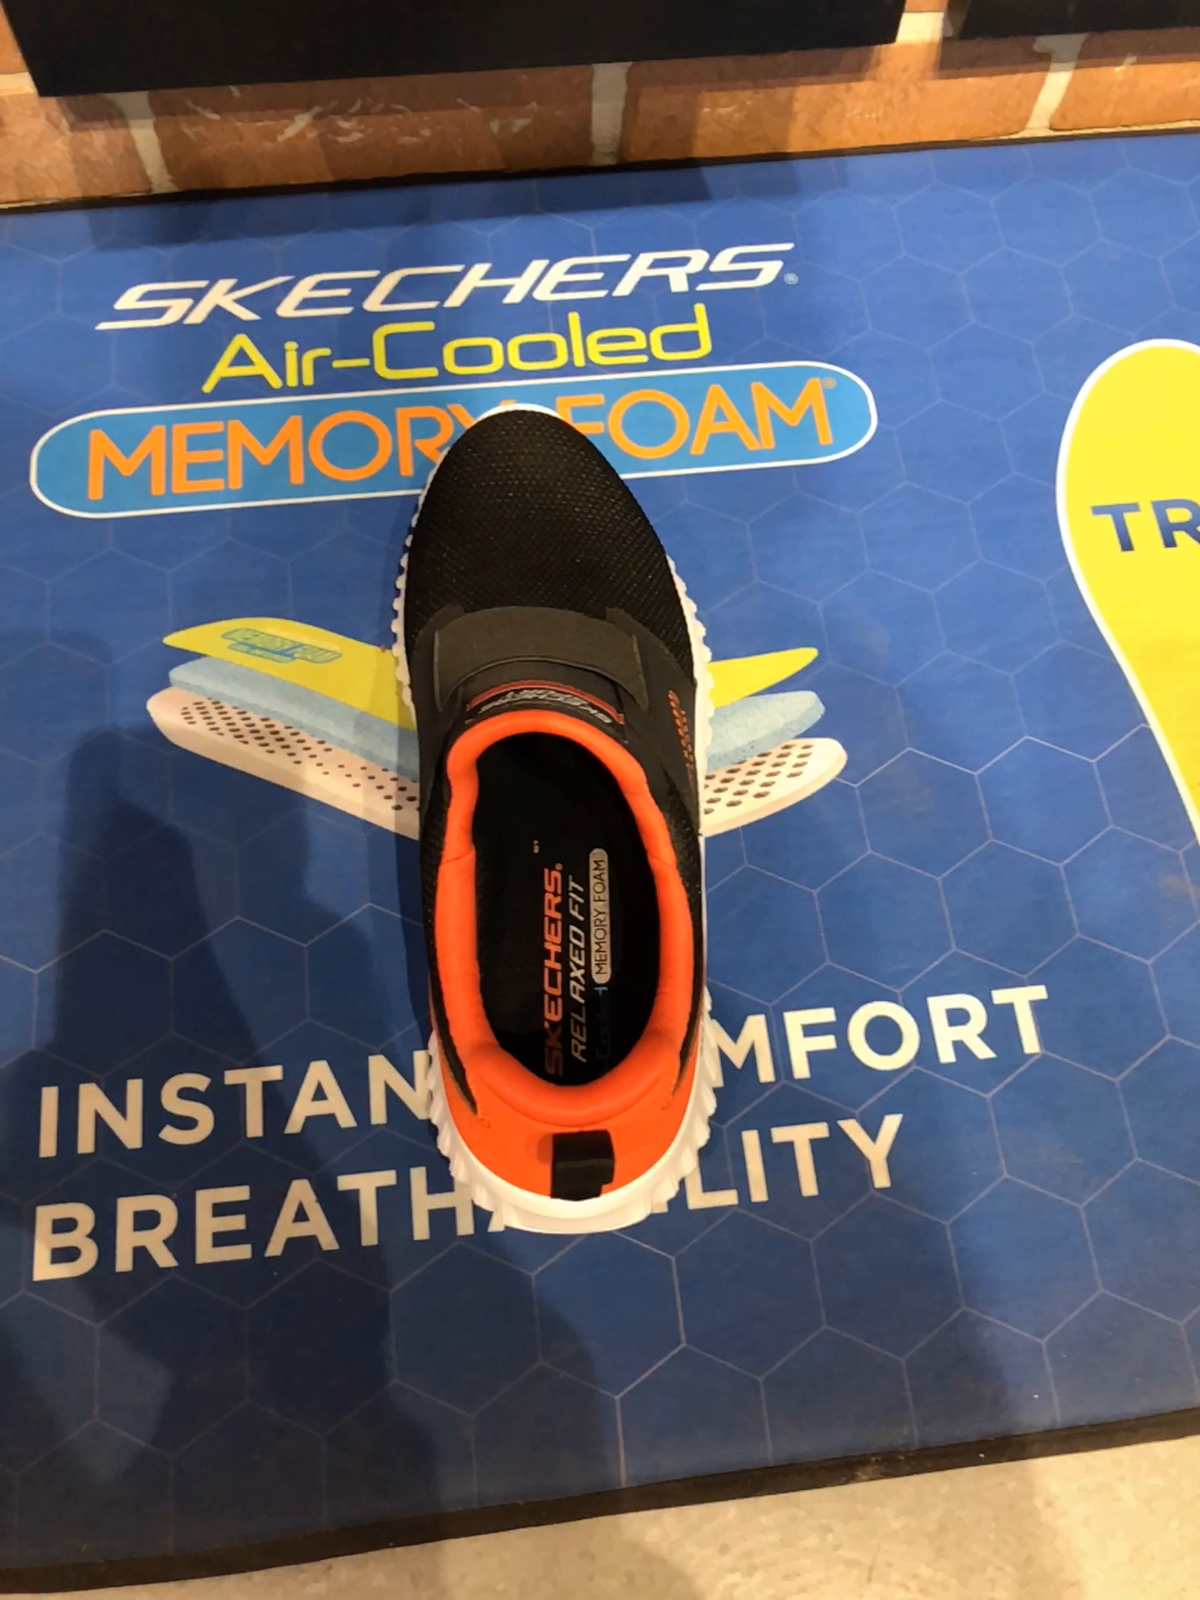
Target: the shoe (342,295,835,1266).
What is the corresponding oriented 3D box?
[{"bbox_3d":[-0.014,-0.003,0.427,0.116,0.136,0.276,-3,68,-3],"label":"shoe"}]
